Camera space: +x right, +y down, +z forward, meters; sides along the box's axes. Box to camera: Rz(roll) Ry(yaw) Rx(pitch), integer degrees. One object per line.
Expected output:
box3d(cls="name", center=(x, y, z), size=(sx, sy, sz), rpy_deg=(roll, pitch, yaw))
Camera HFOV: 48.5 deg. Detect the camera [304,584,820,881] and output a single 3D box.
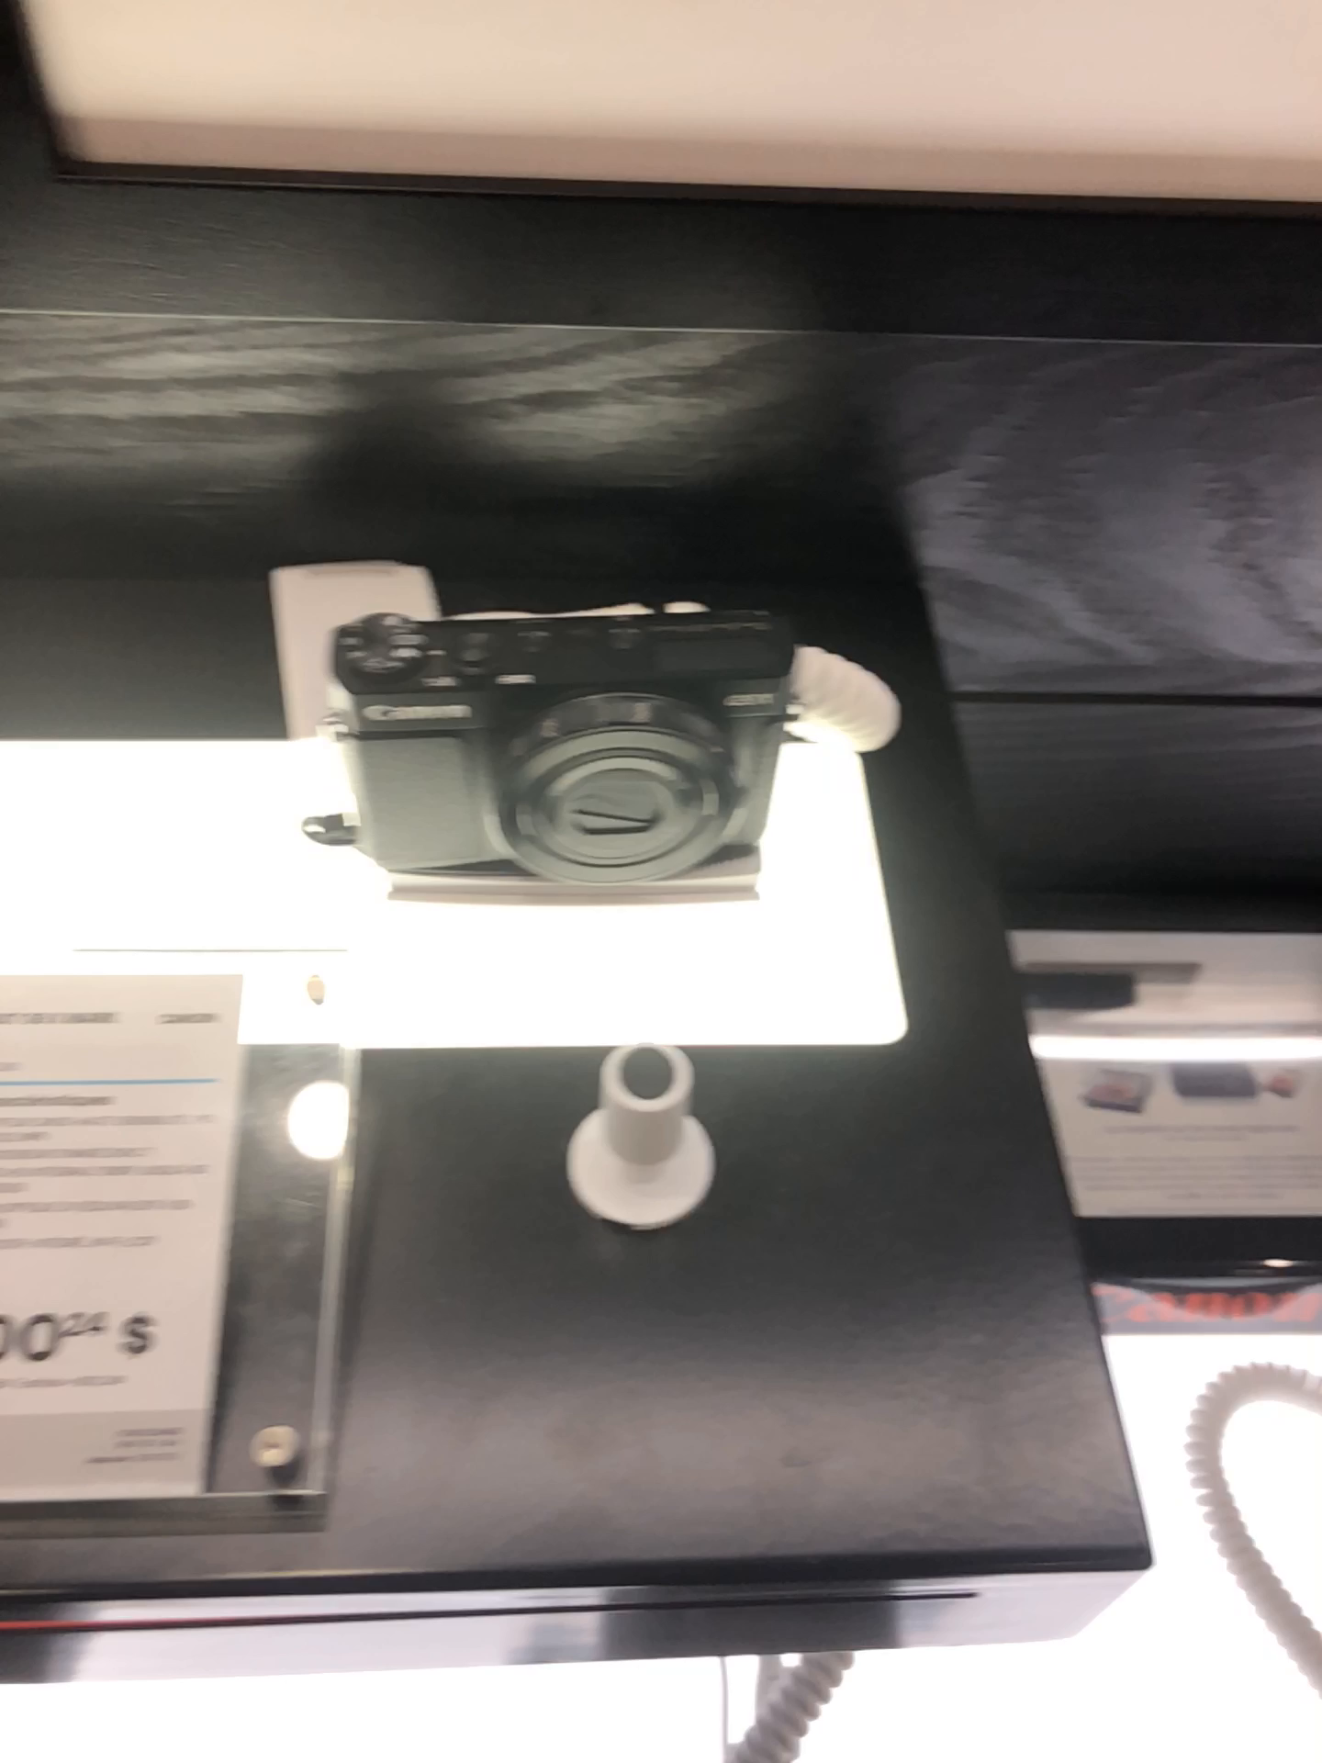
box3d(cls="camera", center=(-0.021, -0.031, 0.315), size=(0.100, 0.058, 0.025), rpy_deg=(-3, 49, -7))
